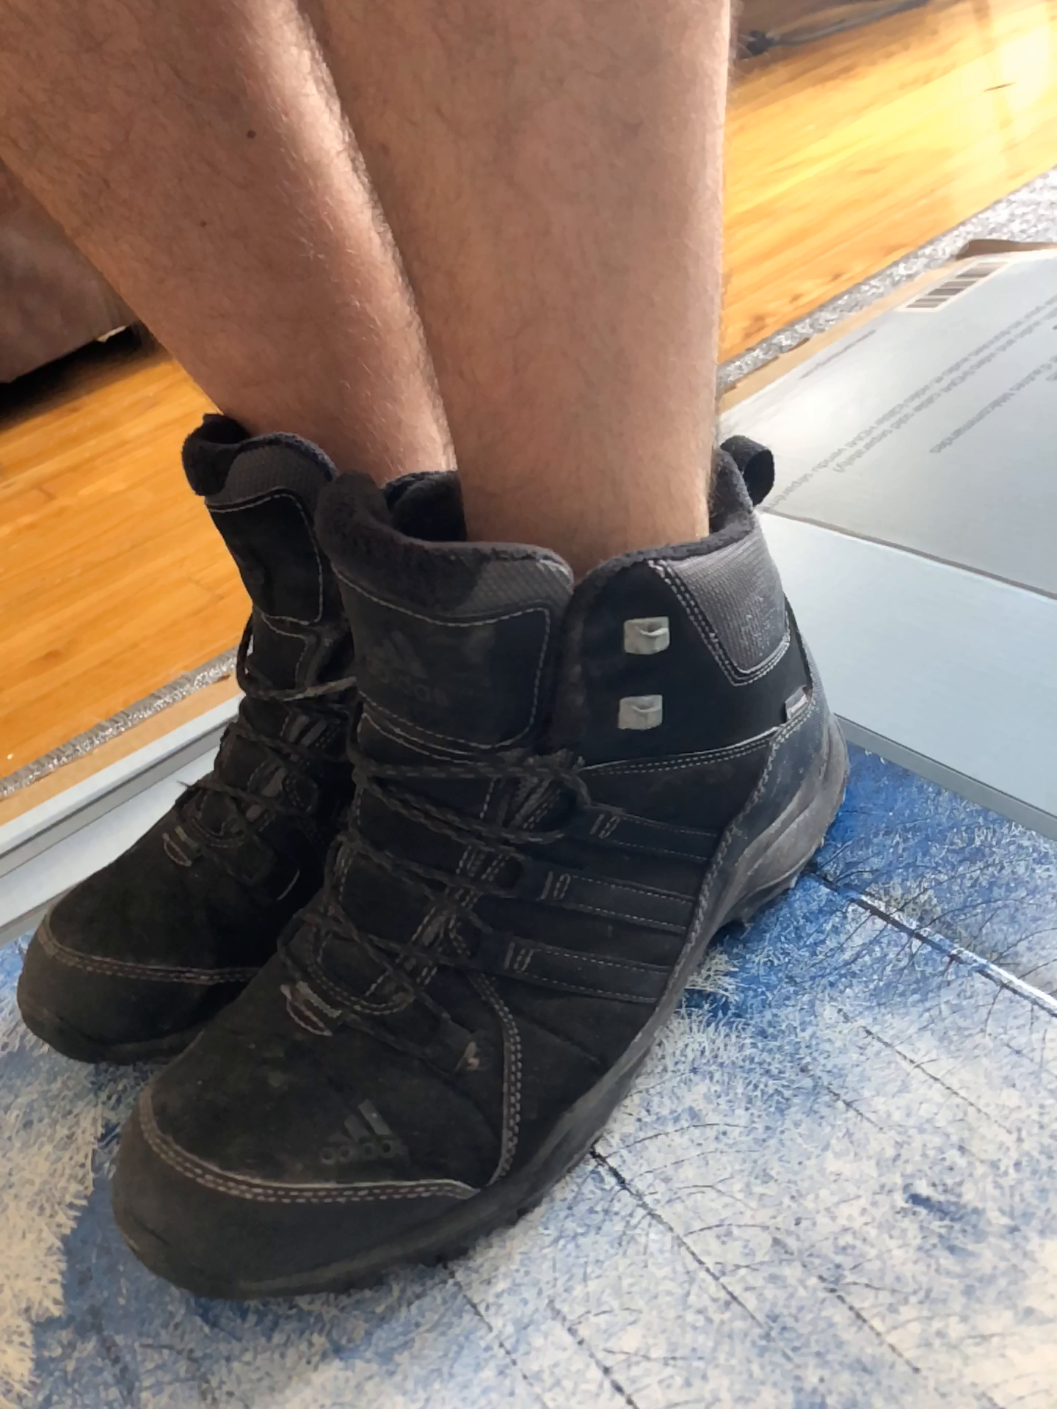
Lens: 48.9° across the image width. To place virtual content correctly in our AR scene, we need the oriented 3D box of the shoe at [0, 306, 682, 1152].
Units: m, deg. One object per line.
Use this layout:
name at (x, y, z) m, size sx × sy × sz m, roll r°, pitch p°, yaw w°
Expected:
shoe at (-0.087, -0.013, 0.440) m, size 0.111 × 0.169 × 0.281 m, roll 20°, pitch 49°, yaw 43°

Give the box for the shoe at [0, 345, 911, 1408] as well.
shoe at (-0.015, 0.032, 0.350) m, size 0.111 × 0.169 × 0.281 m, roll 20°, pitch 49°, yaw 43°
